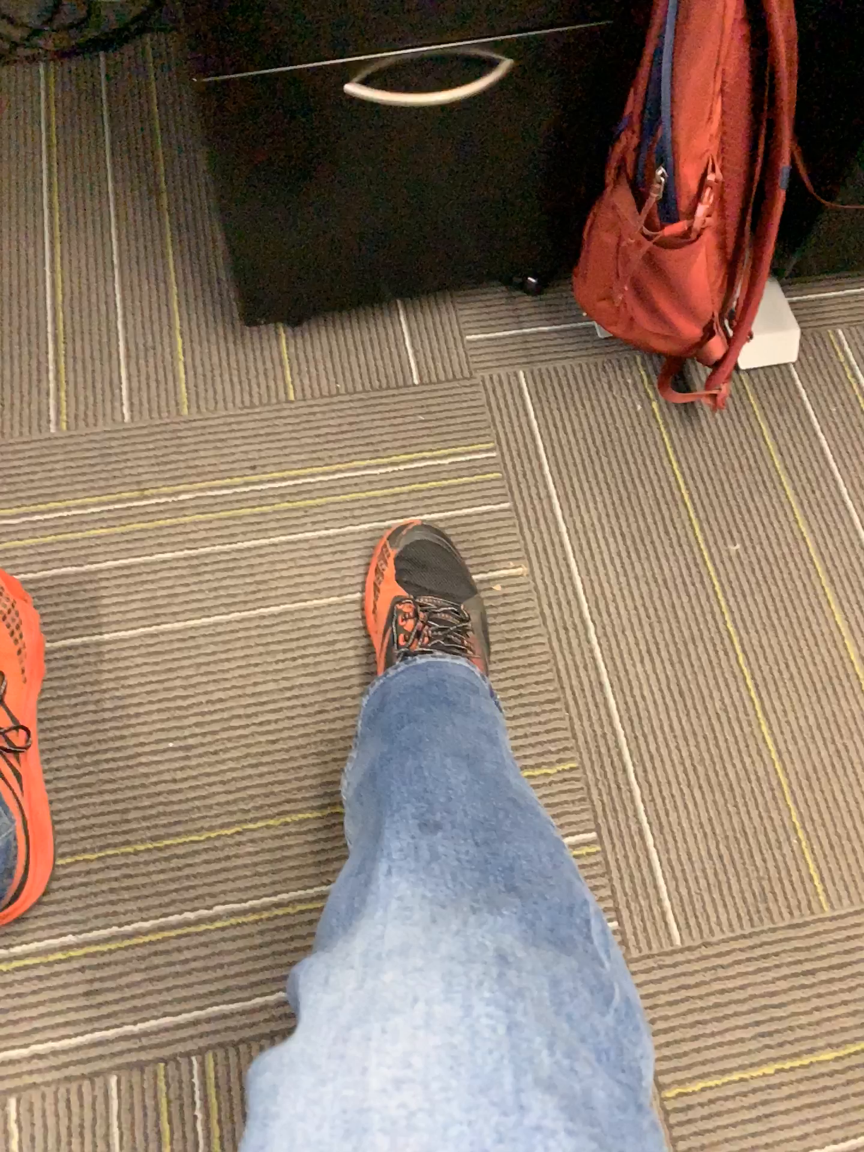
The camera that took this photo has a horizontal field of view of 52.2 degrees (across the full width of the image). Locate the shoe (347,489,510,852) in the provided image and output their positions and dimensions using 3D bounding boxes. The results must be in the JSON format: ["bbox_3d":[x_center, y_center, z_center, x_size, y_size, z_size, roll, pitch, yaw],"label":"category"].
[{"bbox_3d":[-0.005,0.081,0.803,0.130,0.077,0.318,1,66,-3],"label":"shoe"}]
